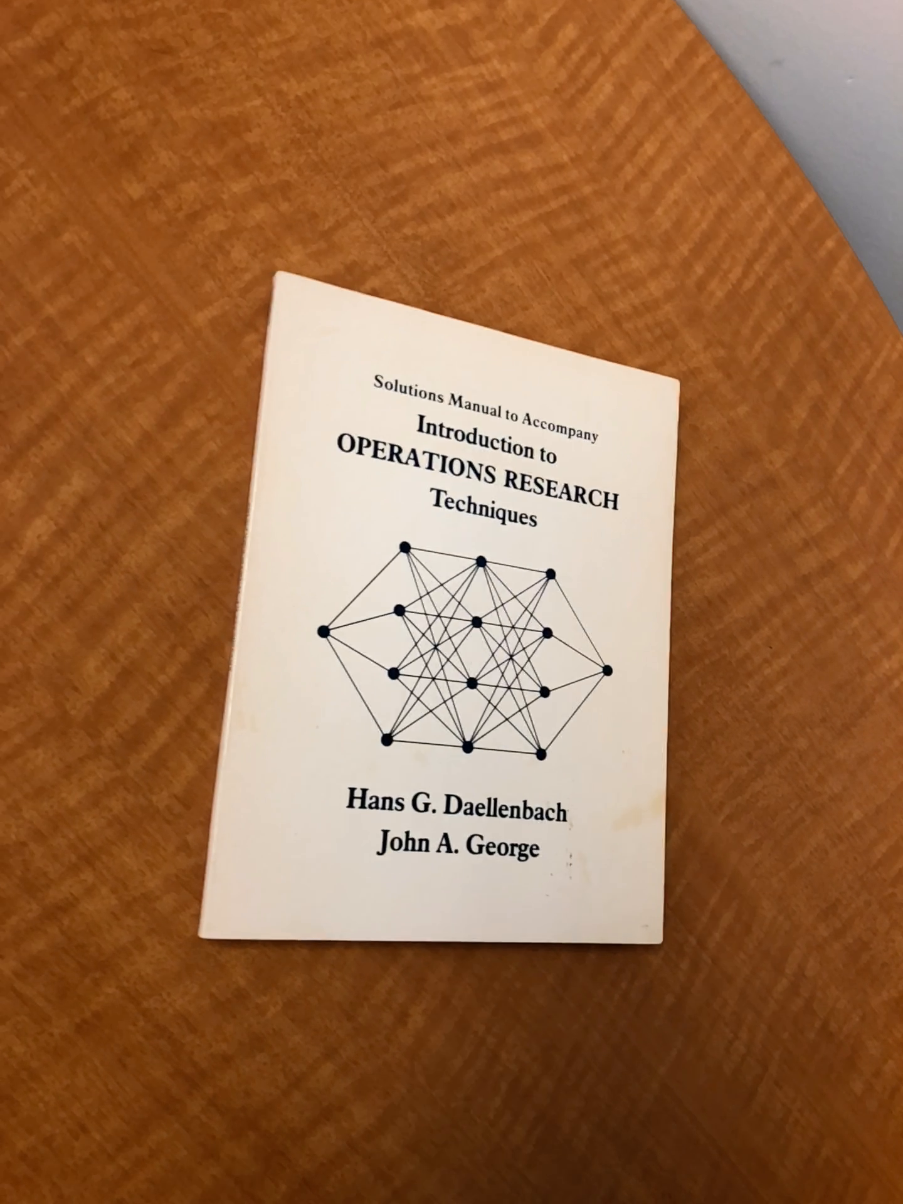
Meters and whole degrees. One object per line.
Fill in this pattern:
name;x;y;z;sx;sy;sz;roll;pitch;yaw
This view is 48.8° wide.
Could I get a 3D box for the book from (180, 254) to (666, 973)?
book;0.002;0.009;0.386;0.180;0.020;0.250;8;78;-24
